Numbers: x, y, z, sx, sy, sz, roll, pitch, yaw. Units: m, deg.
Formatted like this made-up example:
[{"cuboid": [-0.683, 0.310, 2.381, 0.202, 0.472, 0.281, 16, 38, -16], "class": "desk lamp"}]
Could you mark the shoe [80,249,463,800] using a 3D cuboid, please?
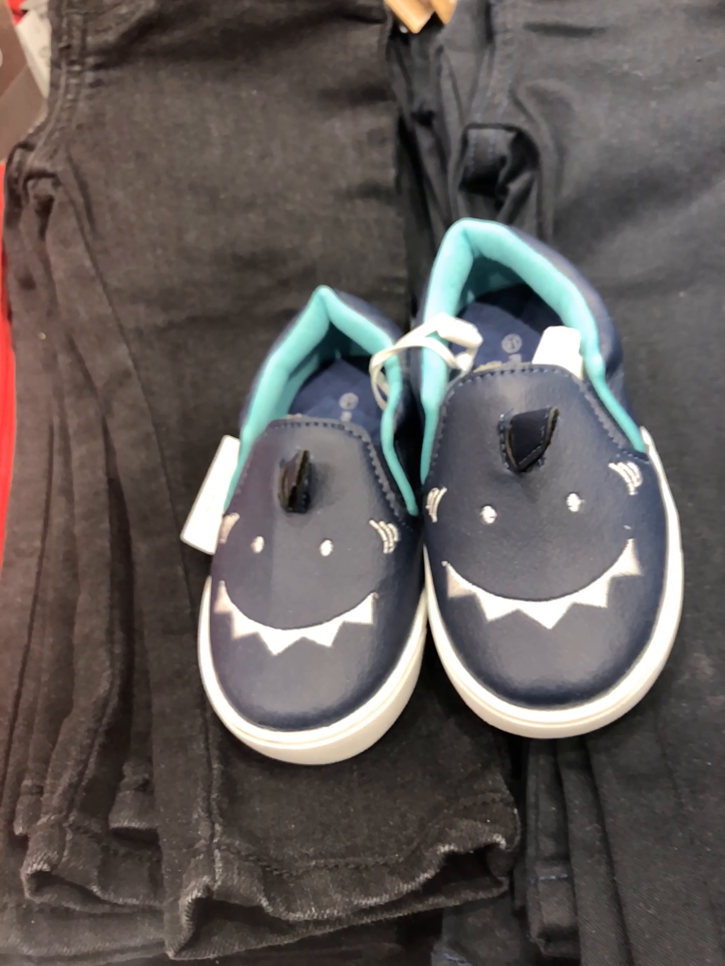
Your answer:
[{"cuboid": [-0.015, 0.006, 0.240, 0.080, 0.050, 0.151, 0, 60, 11], "class": "shoe"}]

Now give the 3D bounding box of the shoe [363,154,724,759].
[{"cuboid": [0.049, -0.012, 0.221, 0.080, 0.050, 0.151, -8, 58, 6], "class": "shoe"}]
